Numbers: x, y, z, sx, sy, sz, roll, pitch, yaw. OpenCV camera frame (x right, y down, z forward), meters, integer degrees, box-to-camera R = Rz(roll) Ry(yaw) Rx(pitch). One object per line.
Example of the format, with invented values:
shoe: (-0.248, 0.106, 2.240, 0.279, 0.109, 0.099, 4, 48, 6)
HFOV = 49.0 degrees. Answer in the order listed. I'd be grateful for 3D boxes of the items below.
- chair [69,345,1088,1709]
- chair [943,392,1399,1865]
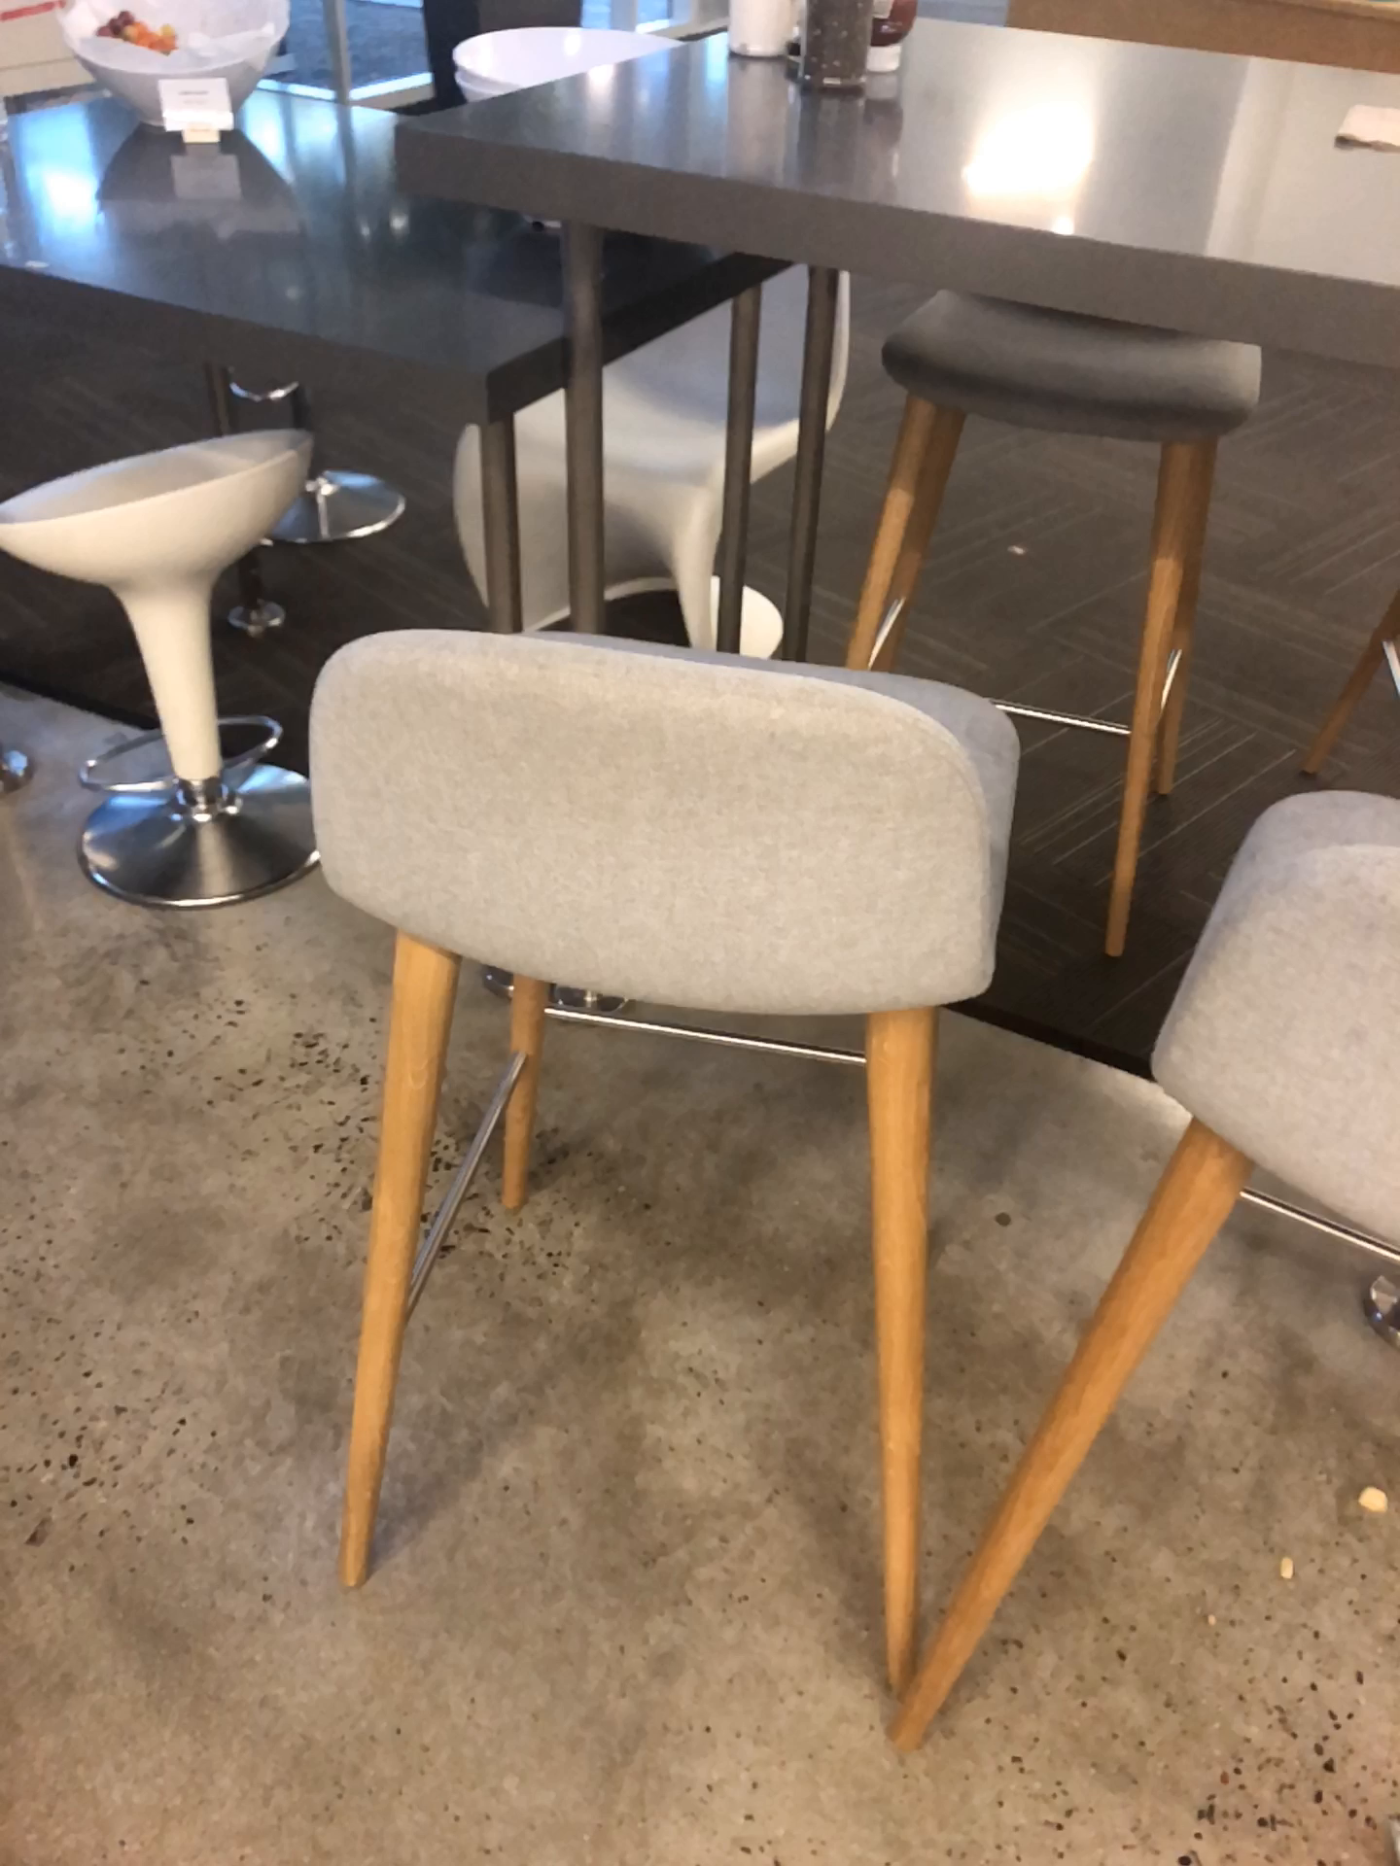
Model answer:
chair: (-0.011, 0.084, 1.188, 0.490, 0.892, 0.515, 4, 37, 9)
chair: (0.520, 0.239, 1.031, 0.500, 0.982, 0.545, 14, 38, 22)
